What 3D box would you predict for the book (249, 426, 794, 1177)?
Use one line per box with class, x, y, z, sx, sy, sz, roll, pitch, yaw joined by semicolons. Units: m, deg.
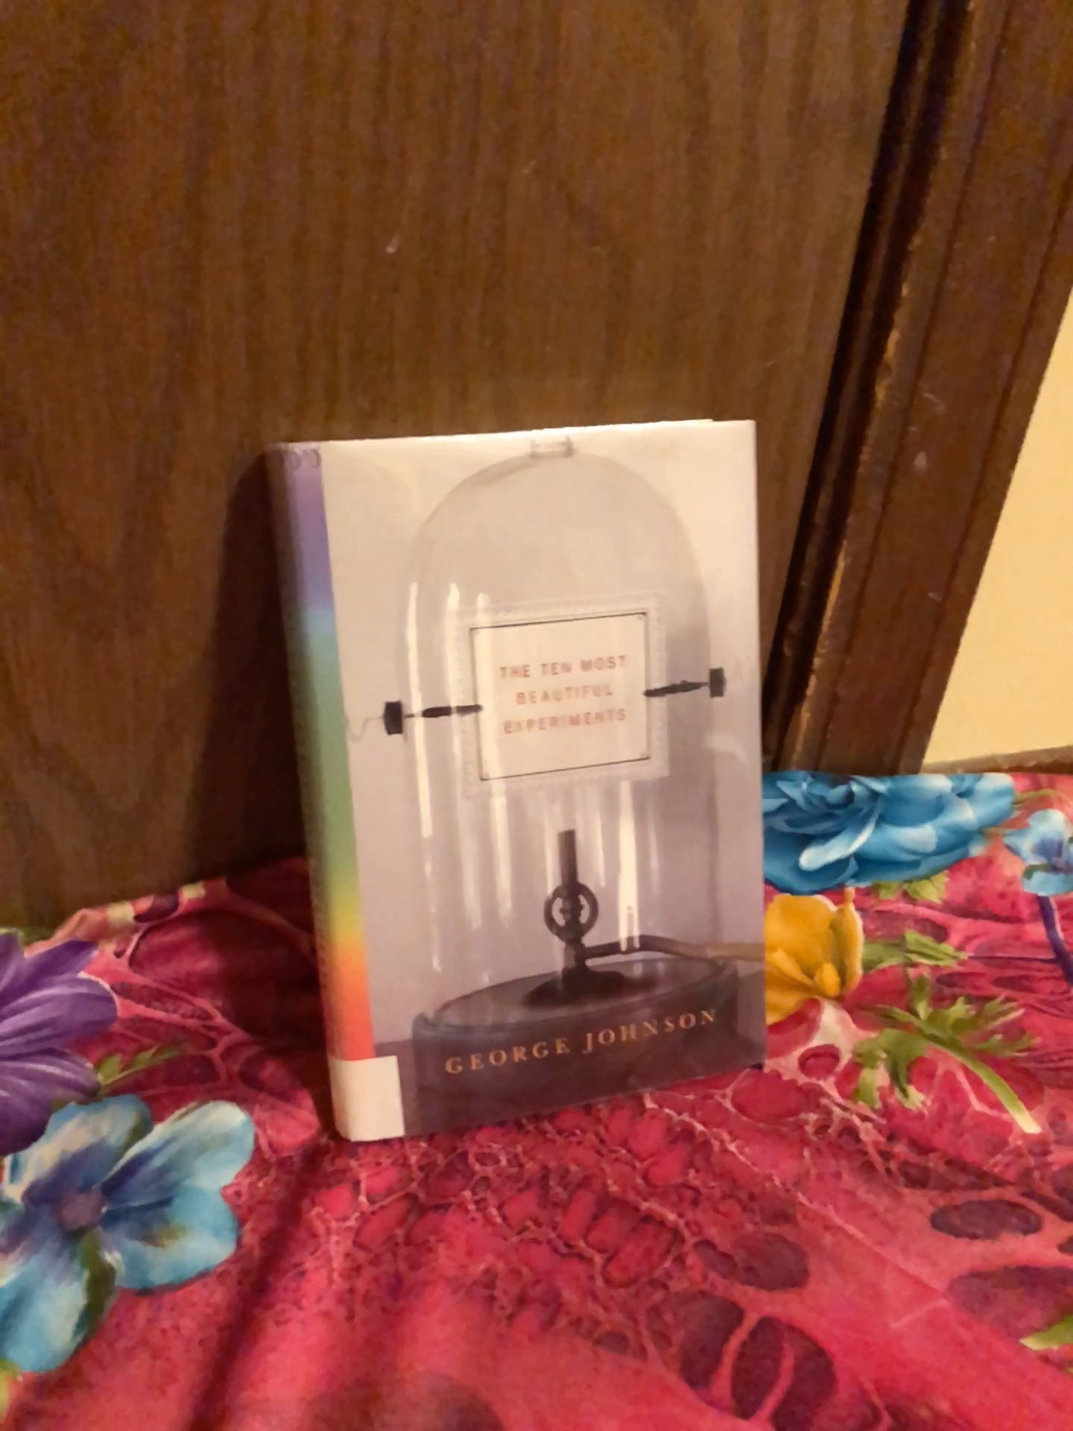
book;0.001;0.019;0.336;0.140;0.190;0.033;-7;12;-18
